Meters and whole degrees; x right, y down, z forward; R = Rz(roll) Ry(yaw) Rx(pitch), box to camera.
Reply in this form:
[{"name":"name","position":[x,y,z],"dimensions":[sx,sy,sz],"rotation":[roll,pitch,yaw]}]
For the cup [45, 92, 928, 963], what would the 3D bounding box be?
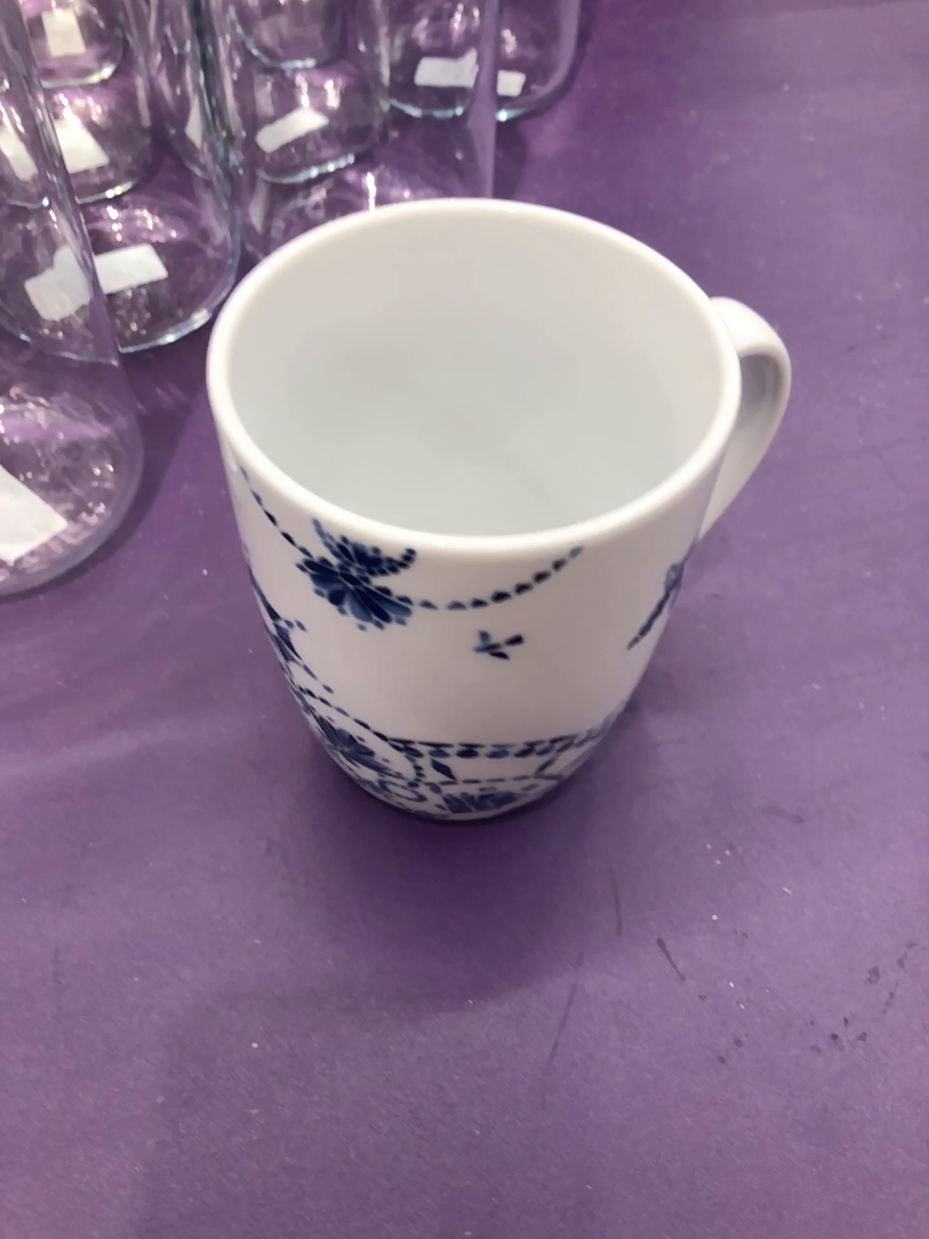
[{"name":"cup","position":[0.008,-0.020,0.233],"dimensions":[0.140,0.119,0.100],"rotation":[-24,58,-19]}]
